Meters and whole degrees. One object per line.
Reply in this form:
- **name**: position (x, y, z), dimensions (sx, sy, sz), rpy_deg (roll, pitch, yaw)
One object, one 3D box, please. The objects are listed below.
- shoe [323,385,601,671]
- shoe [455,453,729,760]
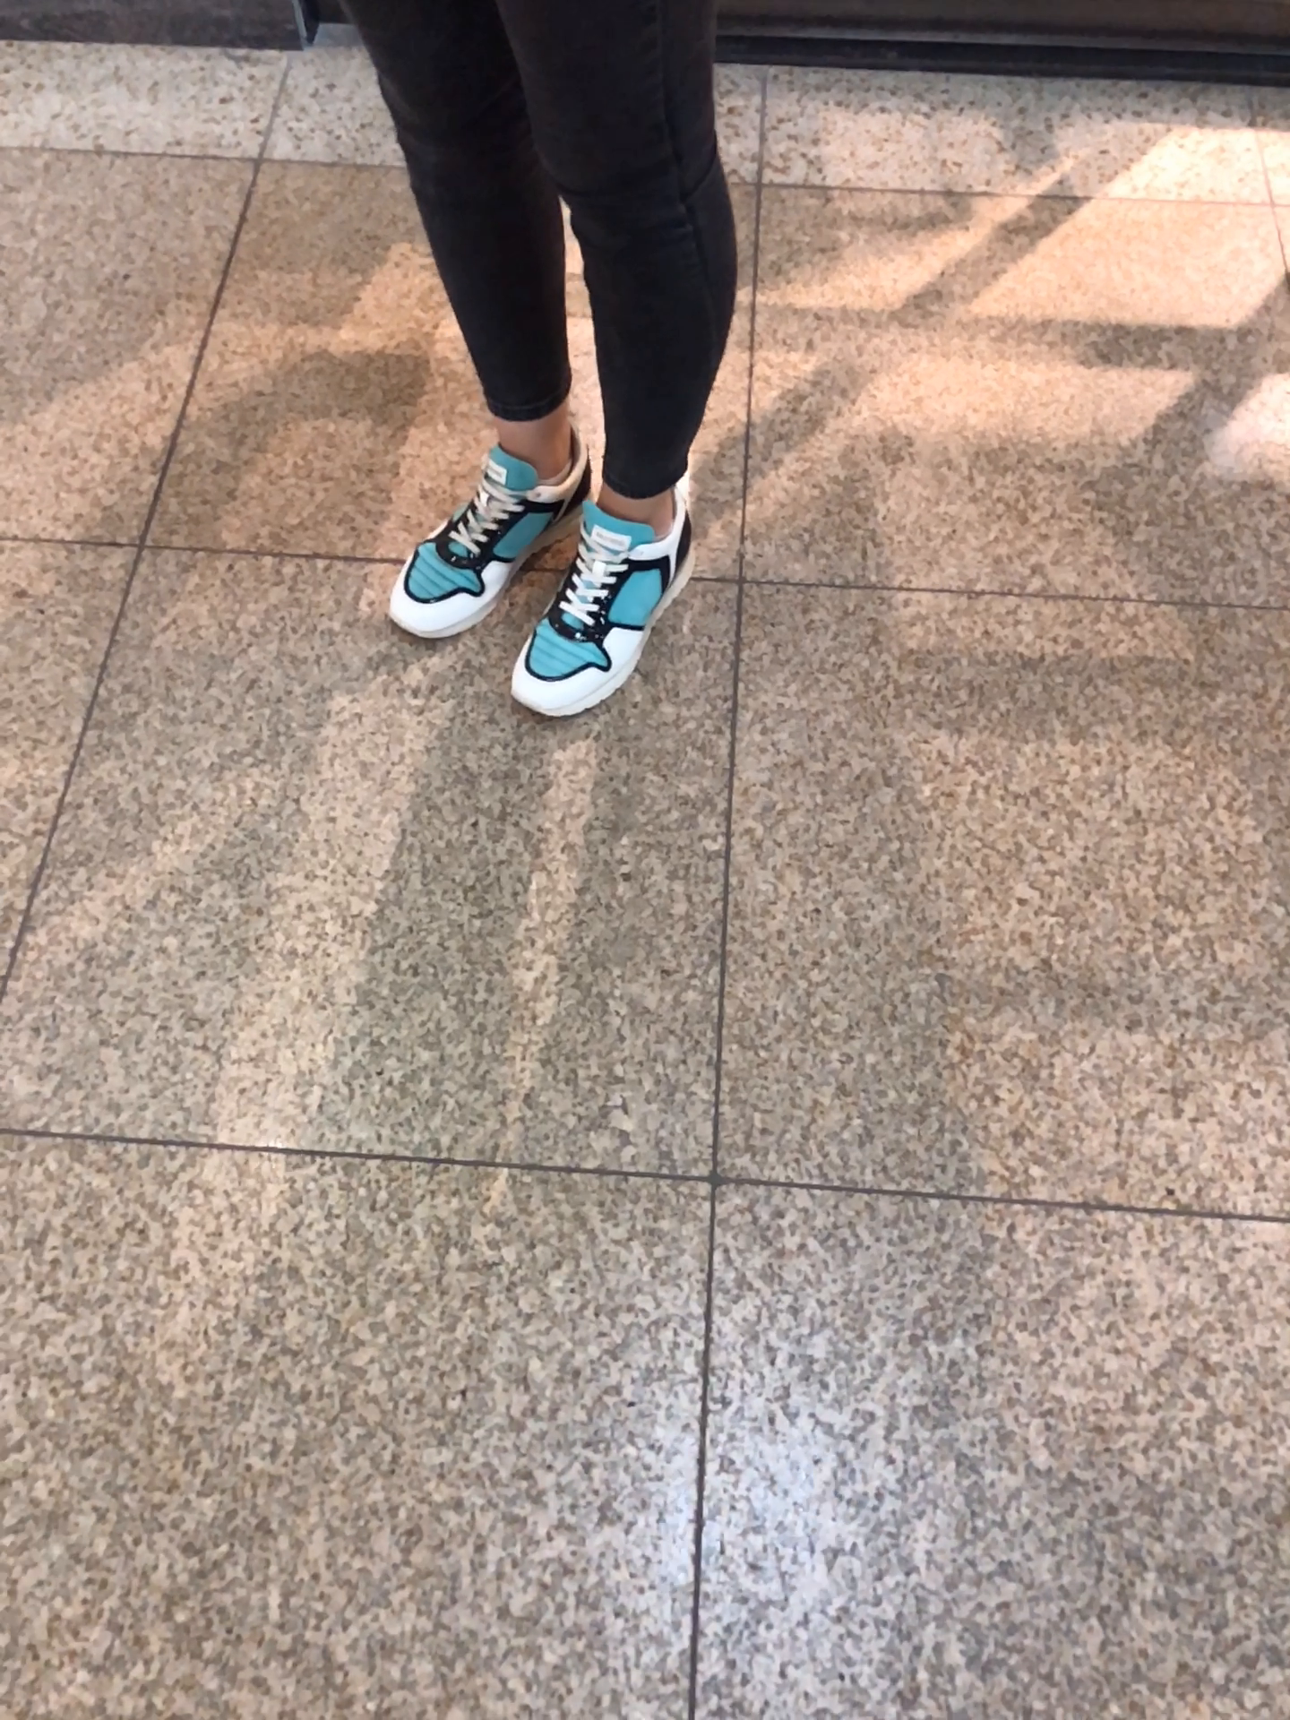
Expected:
- **shoe**: position (-0.161, -0.306, 1.292), dimensions (0.107, 0.100, 0.240), rpy_deg (35, 67, 18)
- **shoe**: position (-0.042, -0.229, 1.263), dimensions (0.110, 0.100, 0.250), rpy_deg (31, 65, 17)
